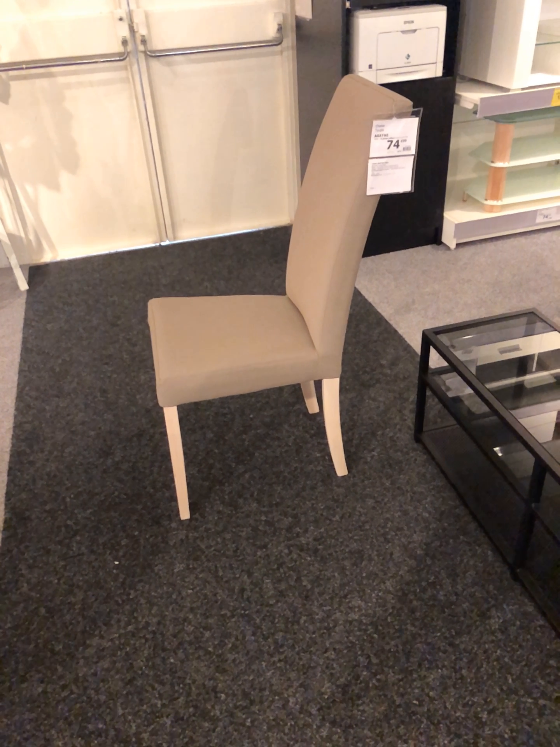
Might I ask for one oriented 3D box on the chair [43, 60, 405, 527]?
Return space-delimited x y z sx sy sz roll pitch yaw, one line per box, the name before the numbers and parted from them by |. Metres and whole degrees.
chair | -0.116 -0.203 1.537 0.631 0.945 0.533 -9 34 -9
